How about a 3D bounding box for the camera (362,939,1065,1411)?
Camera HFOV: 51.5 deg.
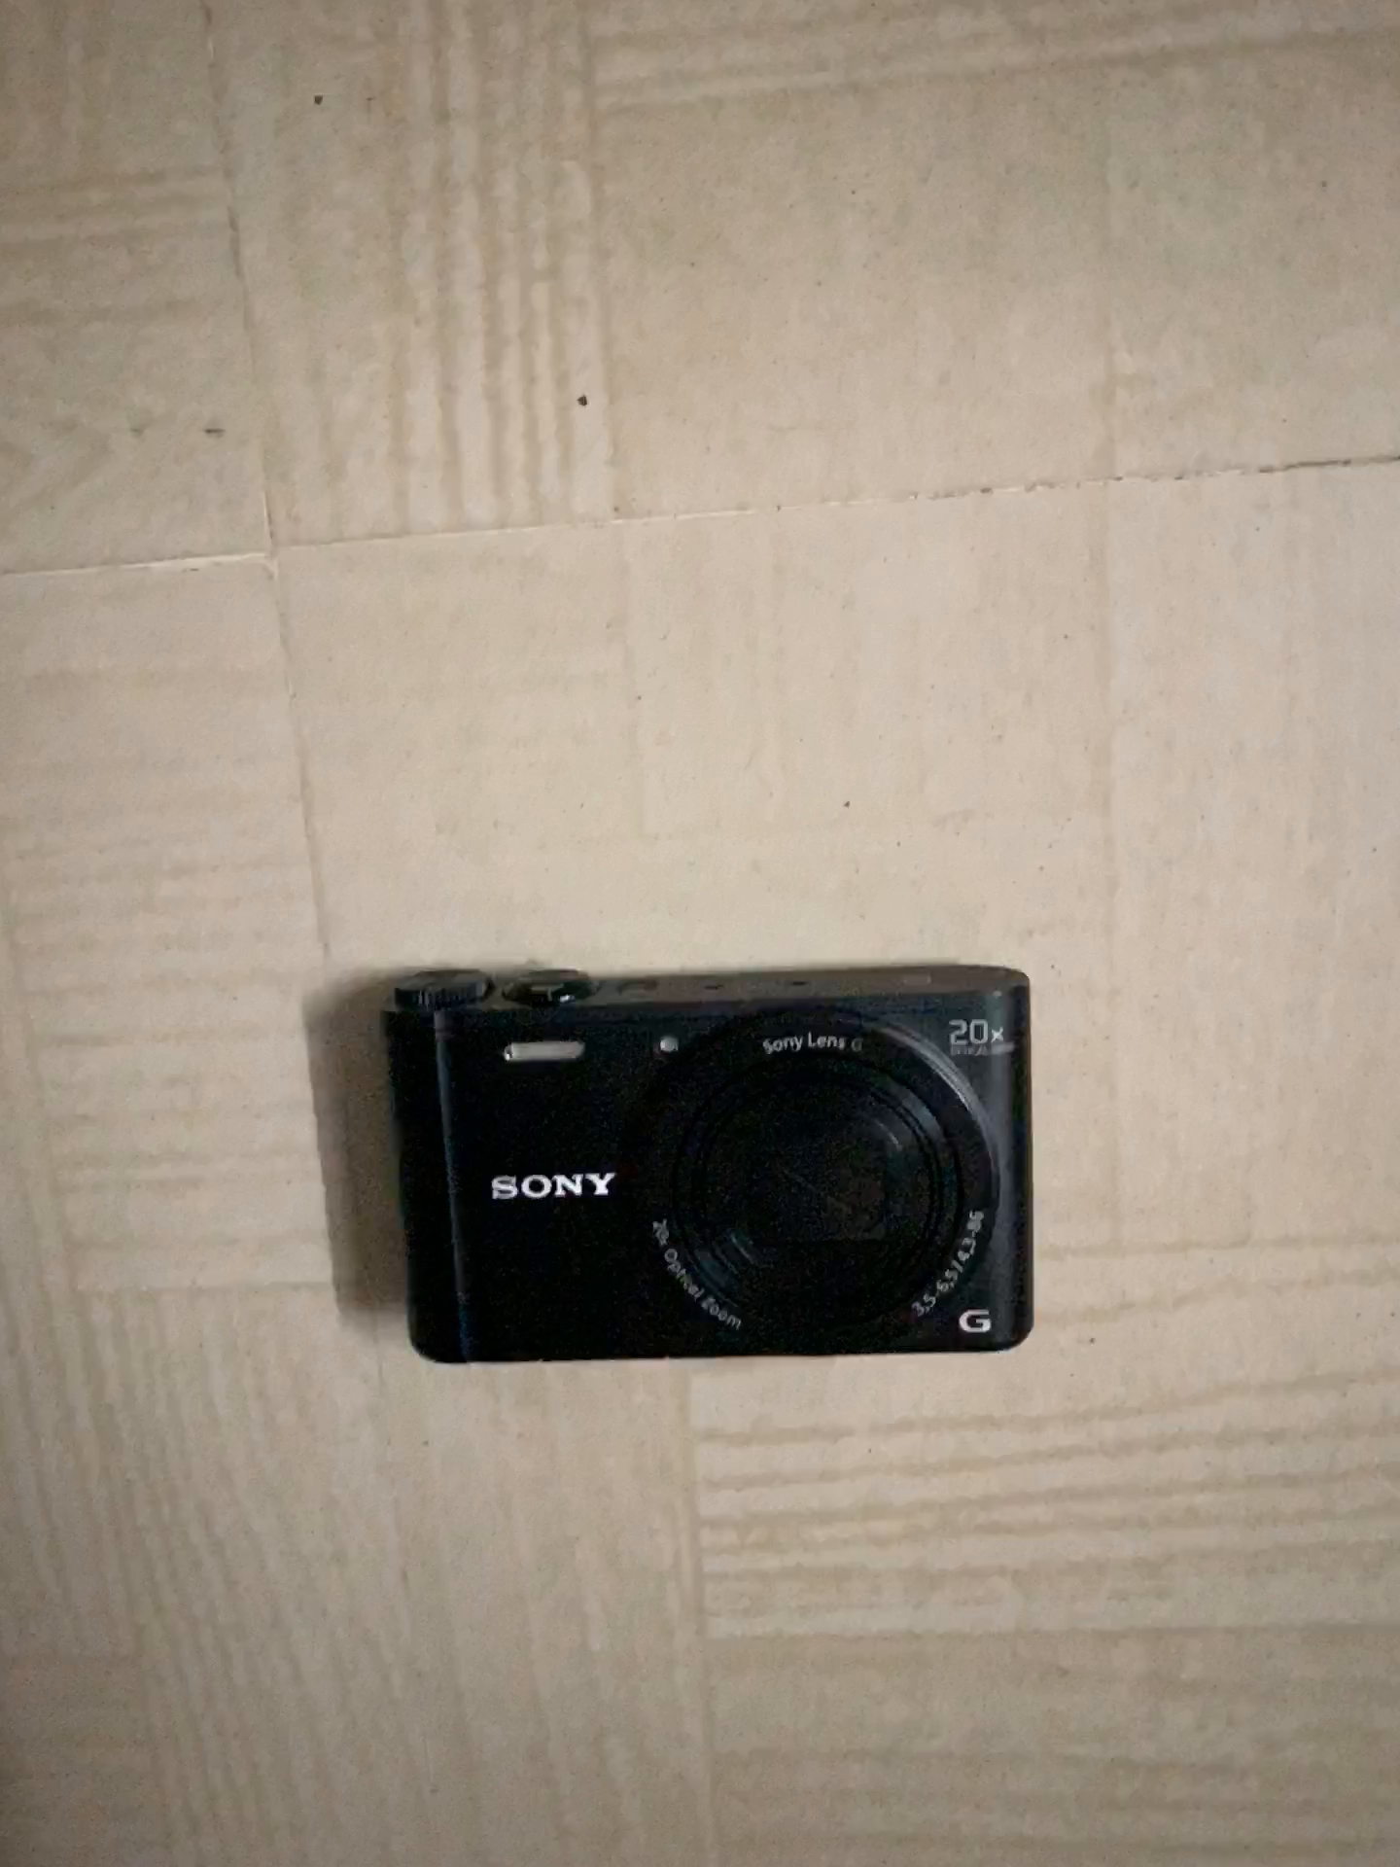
[{"bbox_3d":[0.003,0.034,0.209,0.092,0.025,0.060,-2,103,5],"label":"camera"}]
